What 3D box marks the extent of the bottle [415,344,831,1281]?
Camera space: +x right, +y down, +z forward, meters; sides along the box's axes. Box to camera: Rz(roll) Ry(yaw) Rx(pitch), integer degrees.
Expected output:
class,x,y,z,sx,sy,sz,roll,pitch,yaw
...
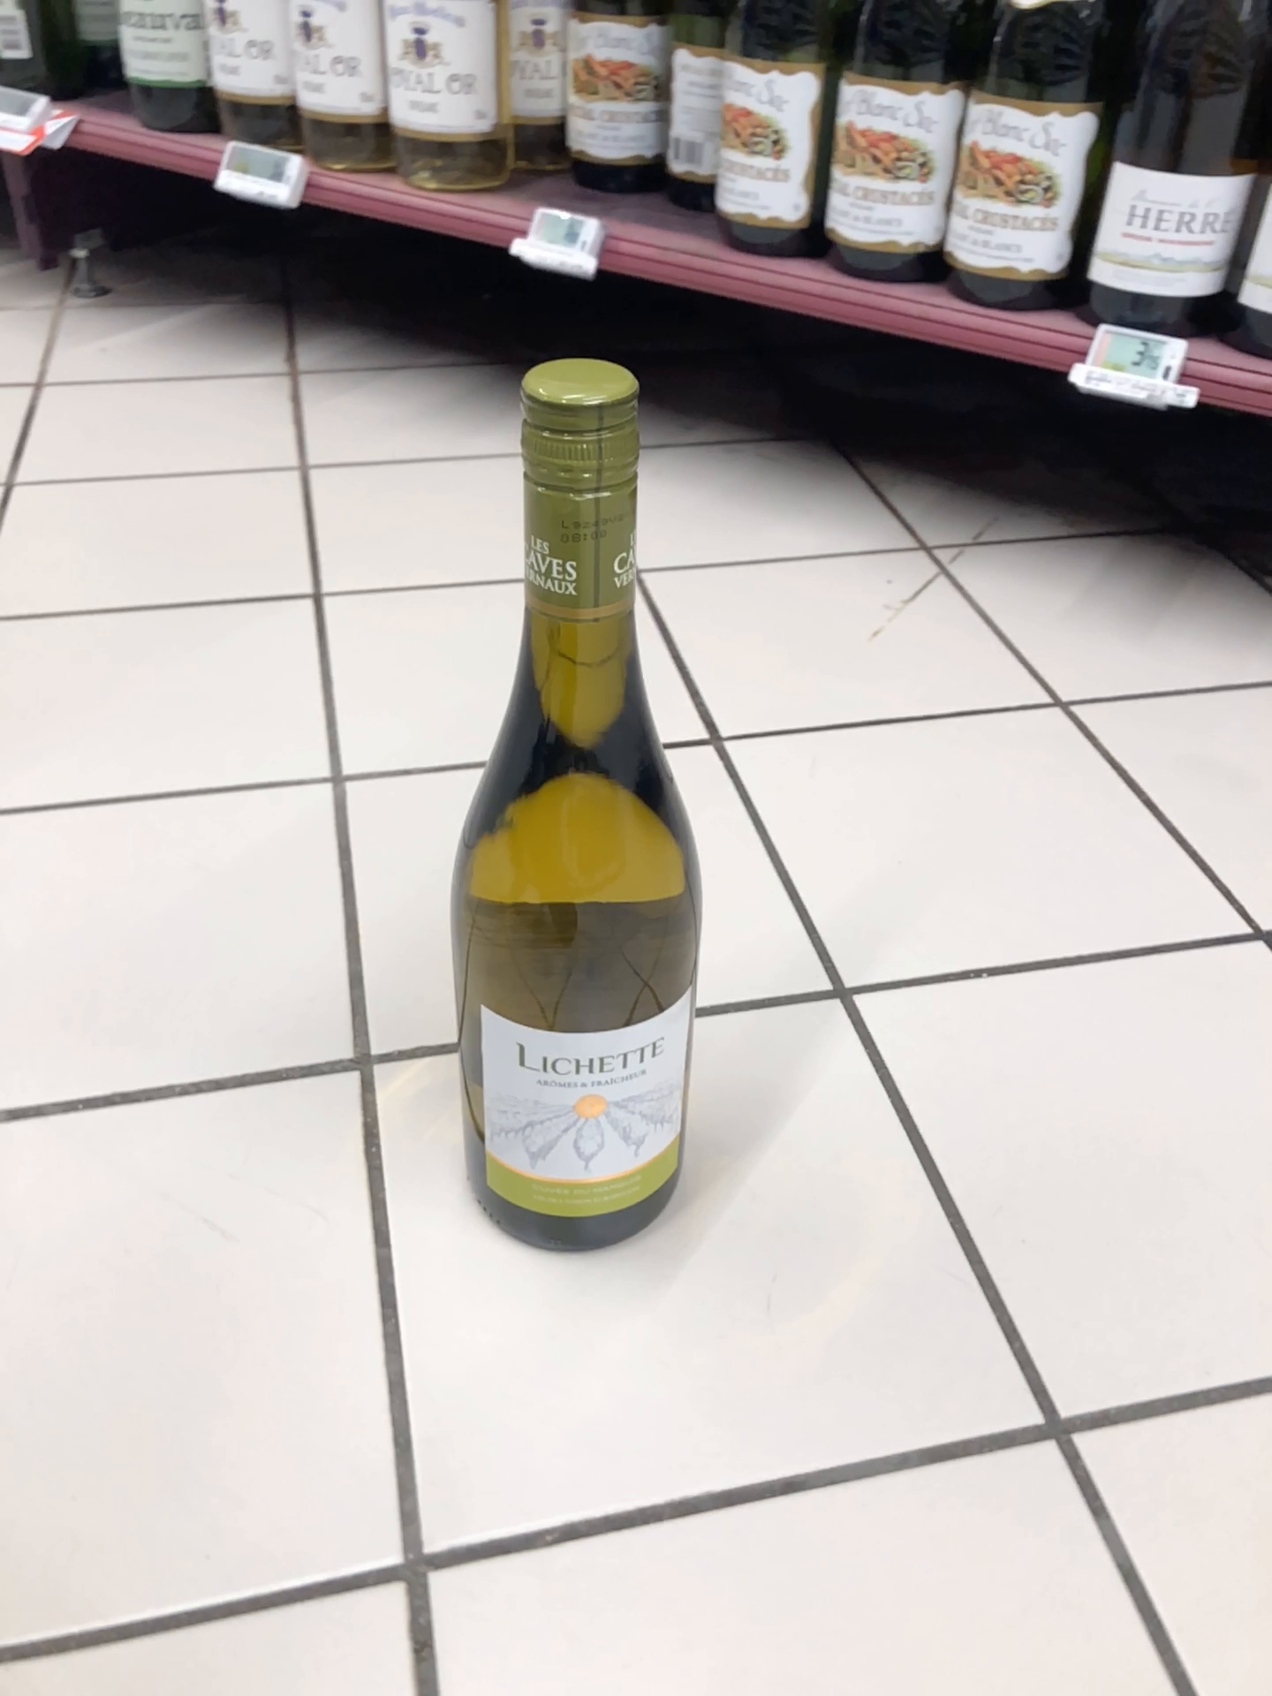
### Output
class,x,y,z,sx,sy,sz,roll,pitch,yaw
bottle,-0.012,0.003,0.425,0.090,0.278,0.090,1,37,-1
